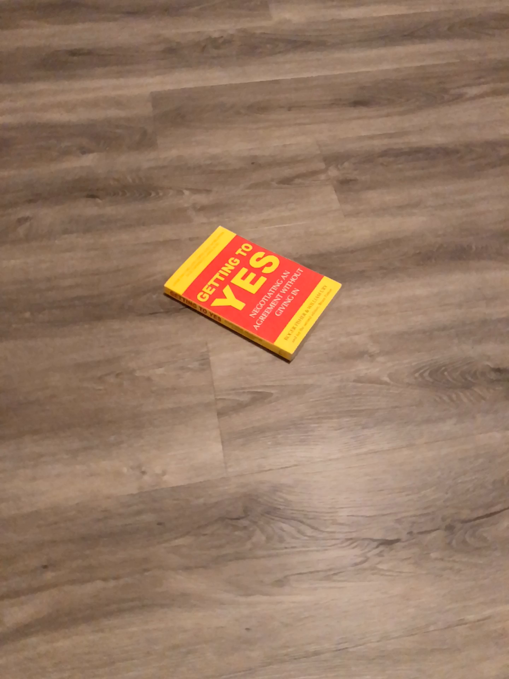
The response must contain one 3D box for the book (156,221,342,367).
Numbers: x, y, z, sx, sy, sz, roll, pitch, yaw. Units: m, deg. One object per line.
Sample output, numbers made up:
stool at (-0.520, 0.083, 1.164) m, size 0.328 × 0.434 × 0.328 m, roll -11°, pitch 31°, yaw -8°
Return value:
book at (-0.006, -0.064, 0.710) m, size 0.190 × 0.026 × 0.130 m, roll 28°, pitch 61°, yaw 17°
